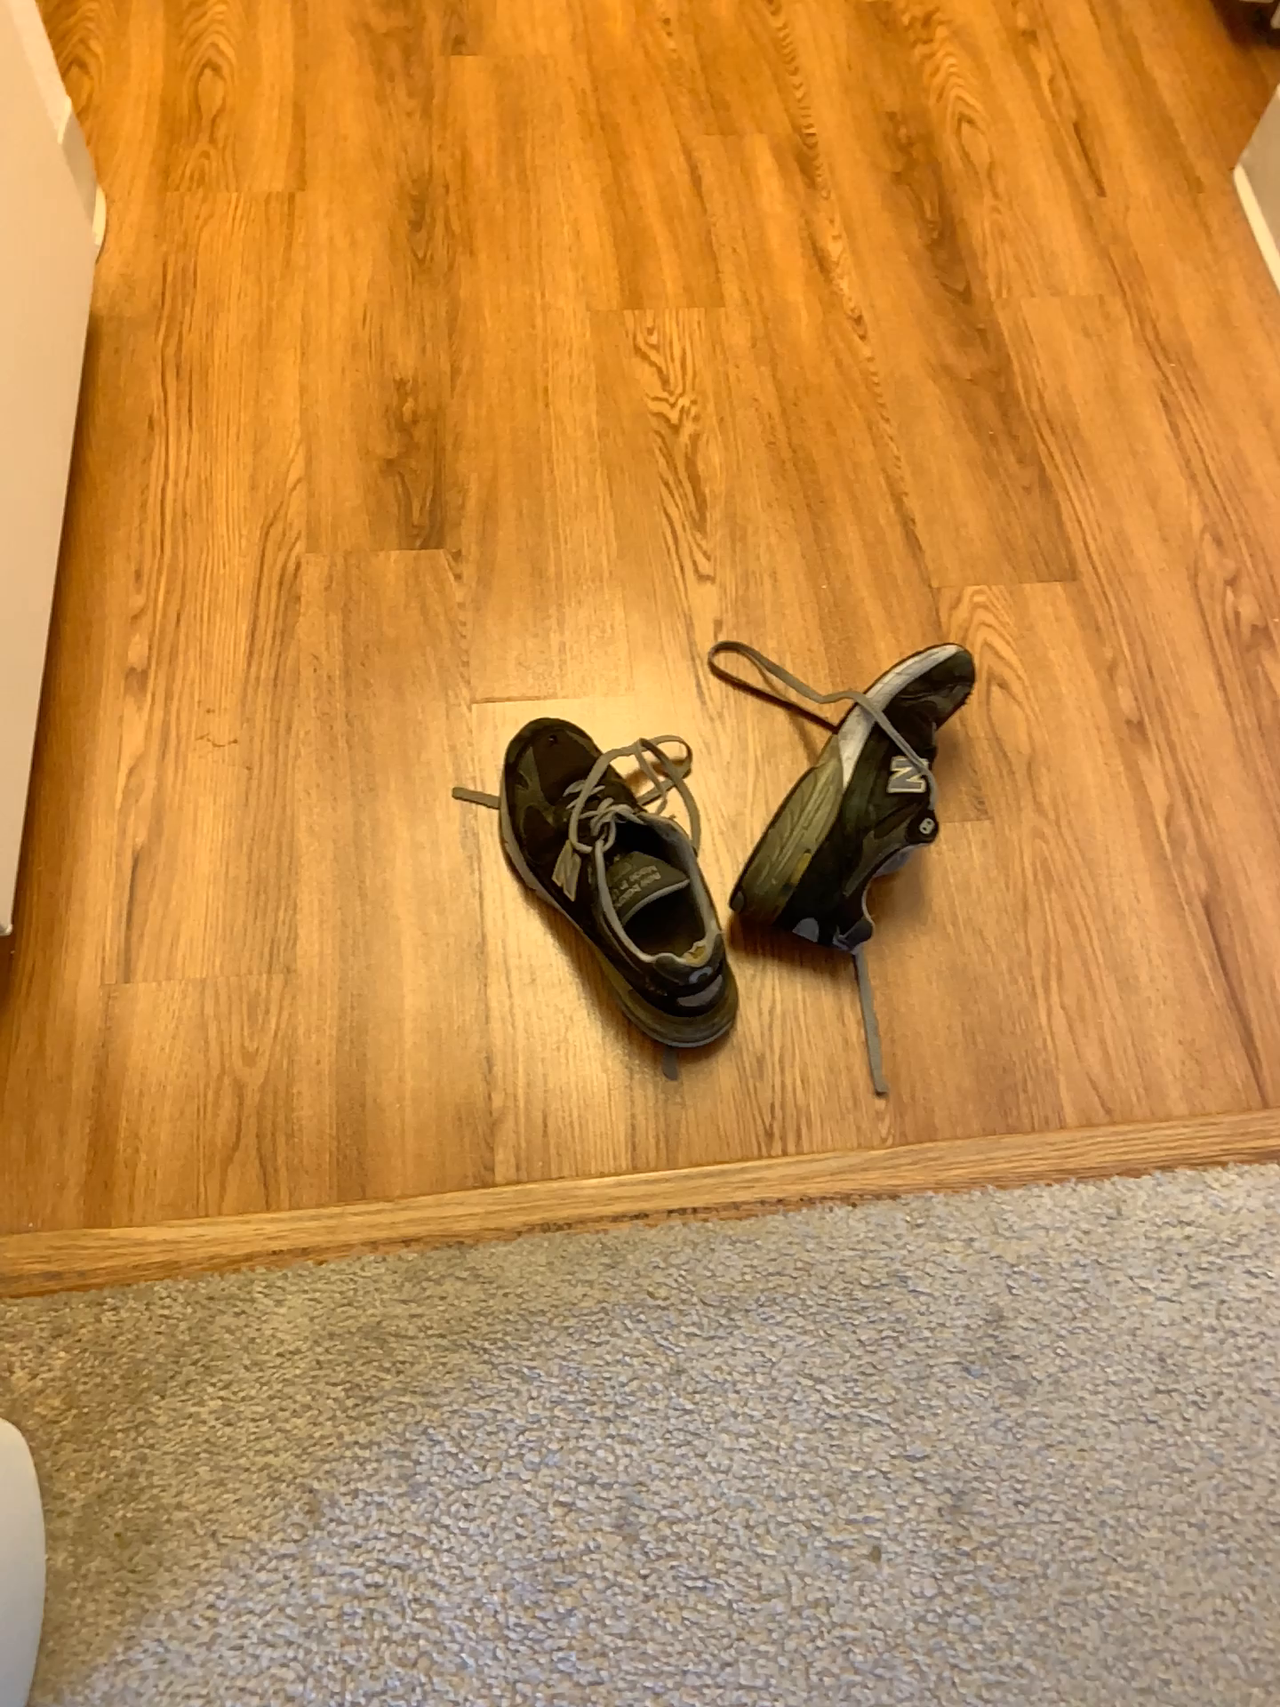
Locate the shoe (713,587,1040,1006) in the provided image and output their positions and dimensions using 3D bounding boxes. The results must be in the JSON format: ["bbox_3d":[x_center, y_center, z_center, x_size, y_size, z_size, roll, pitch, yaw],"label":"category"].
[{"bbox_3d":[0.200,-0.053,1.094,0.120,0.130,0.320,27,64,21],"label":"shoe"}]

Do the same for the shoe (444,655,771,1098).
[{"bbox_3d":[-0.037,0.020,1.117,0.120,0.170,0.321,-26,67,-16],"label":"shoe"}]
